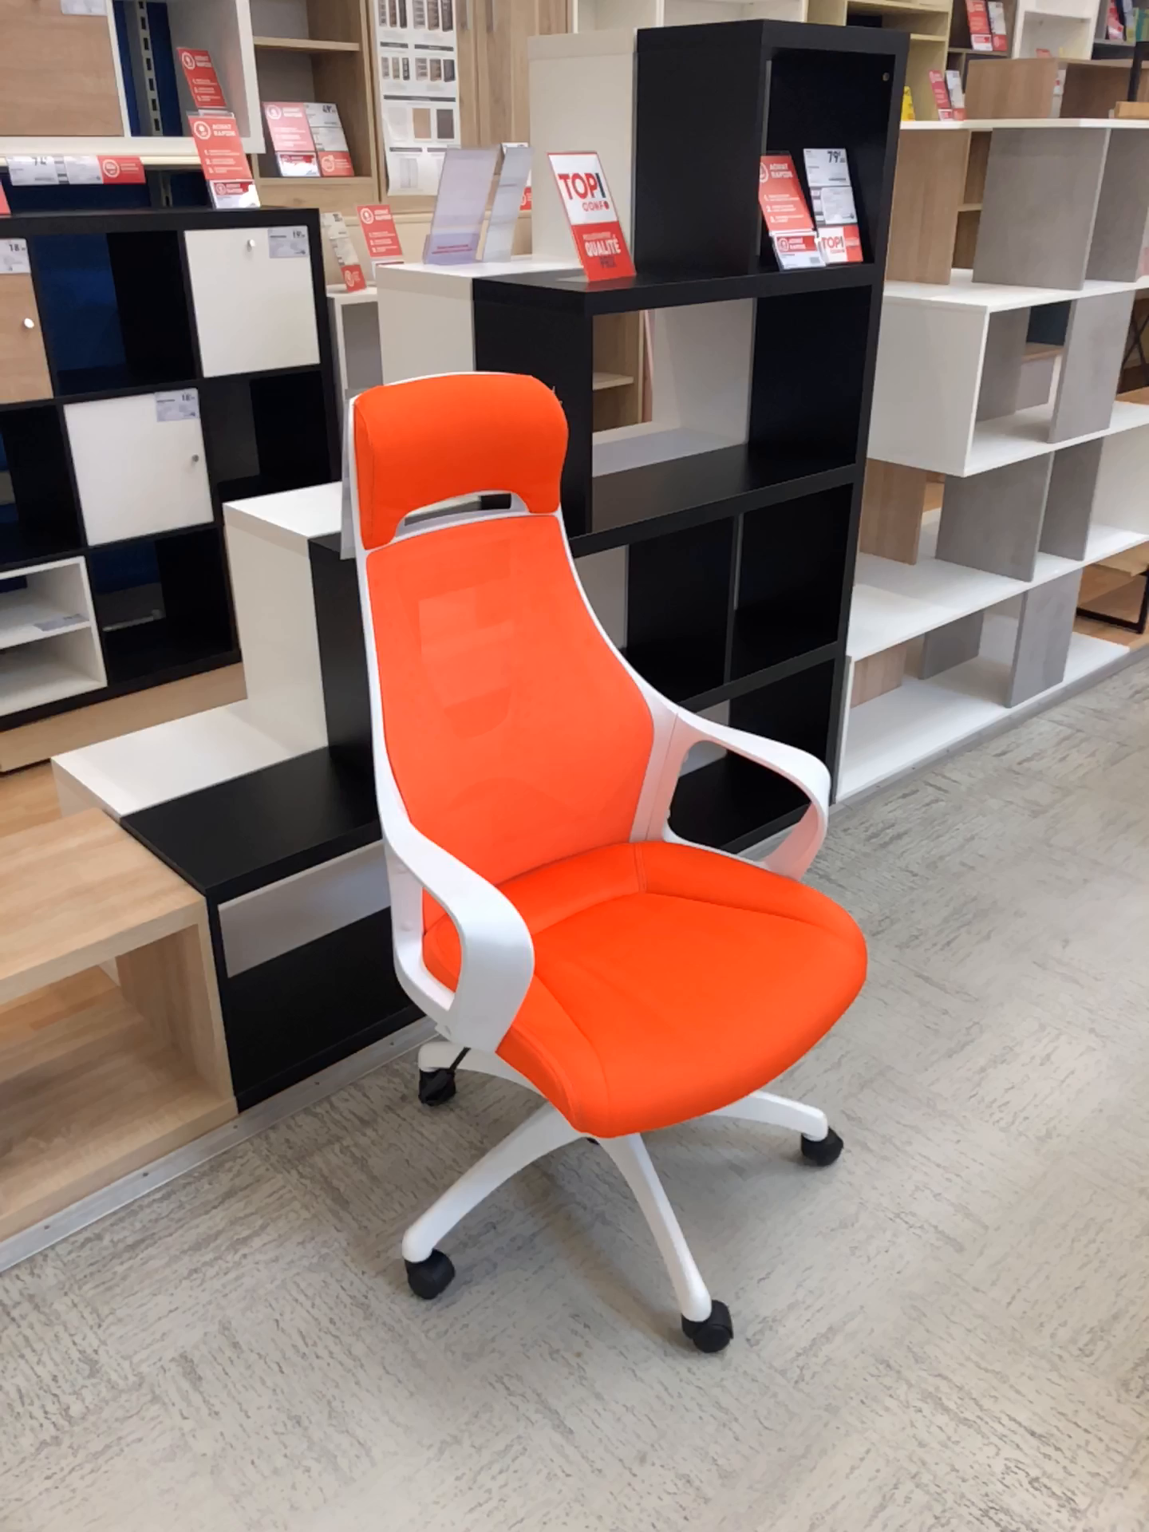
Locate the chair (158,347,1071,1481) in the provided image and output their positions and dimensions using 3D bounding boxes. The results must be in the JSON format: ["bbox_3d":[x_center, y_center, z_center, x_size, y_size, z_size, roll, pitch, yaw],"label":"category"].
[{"bbox_3d":[0.024,0.084,1.605,0.683,1.054,0.750,-20,32,-35],"label":"chair"}]
